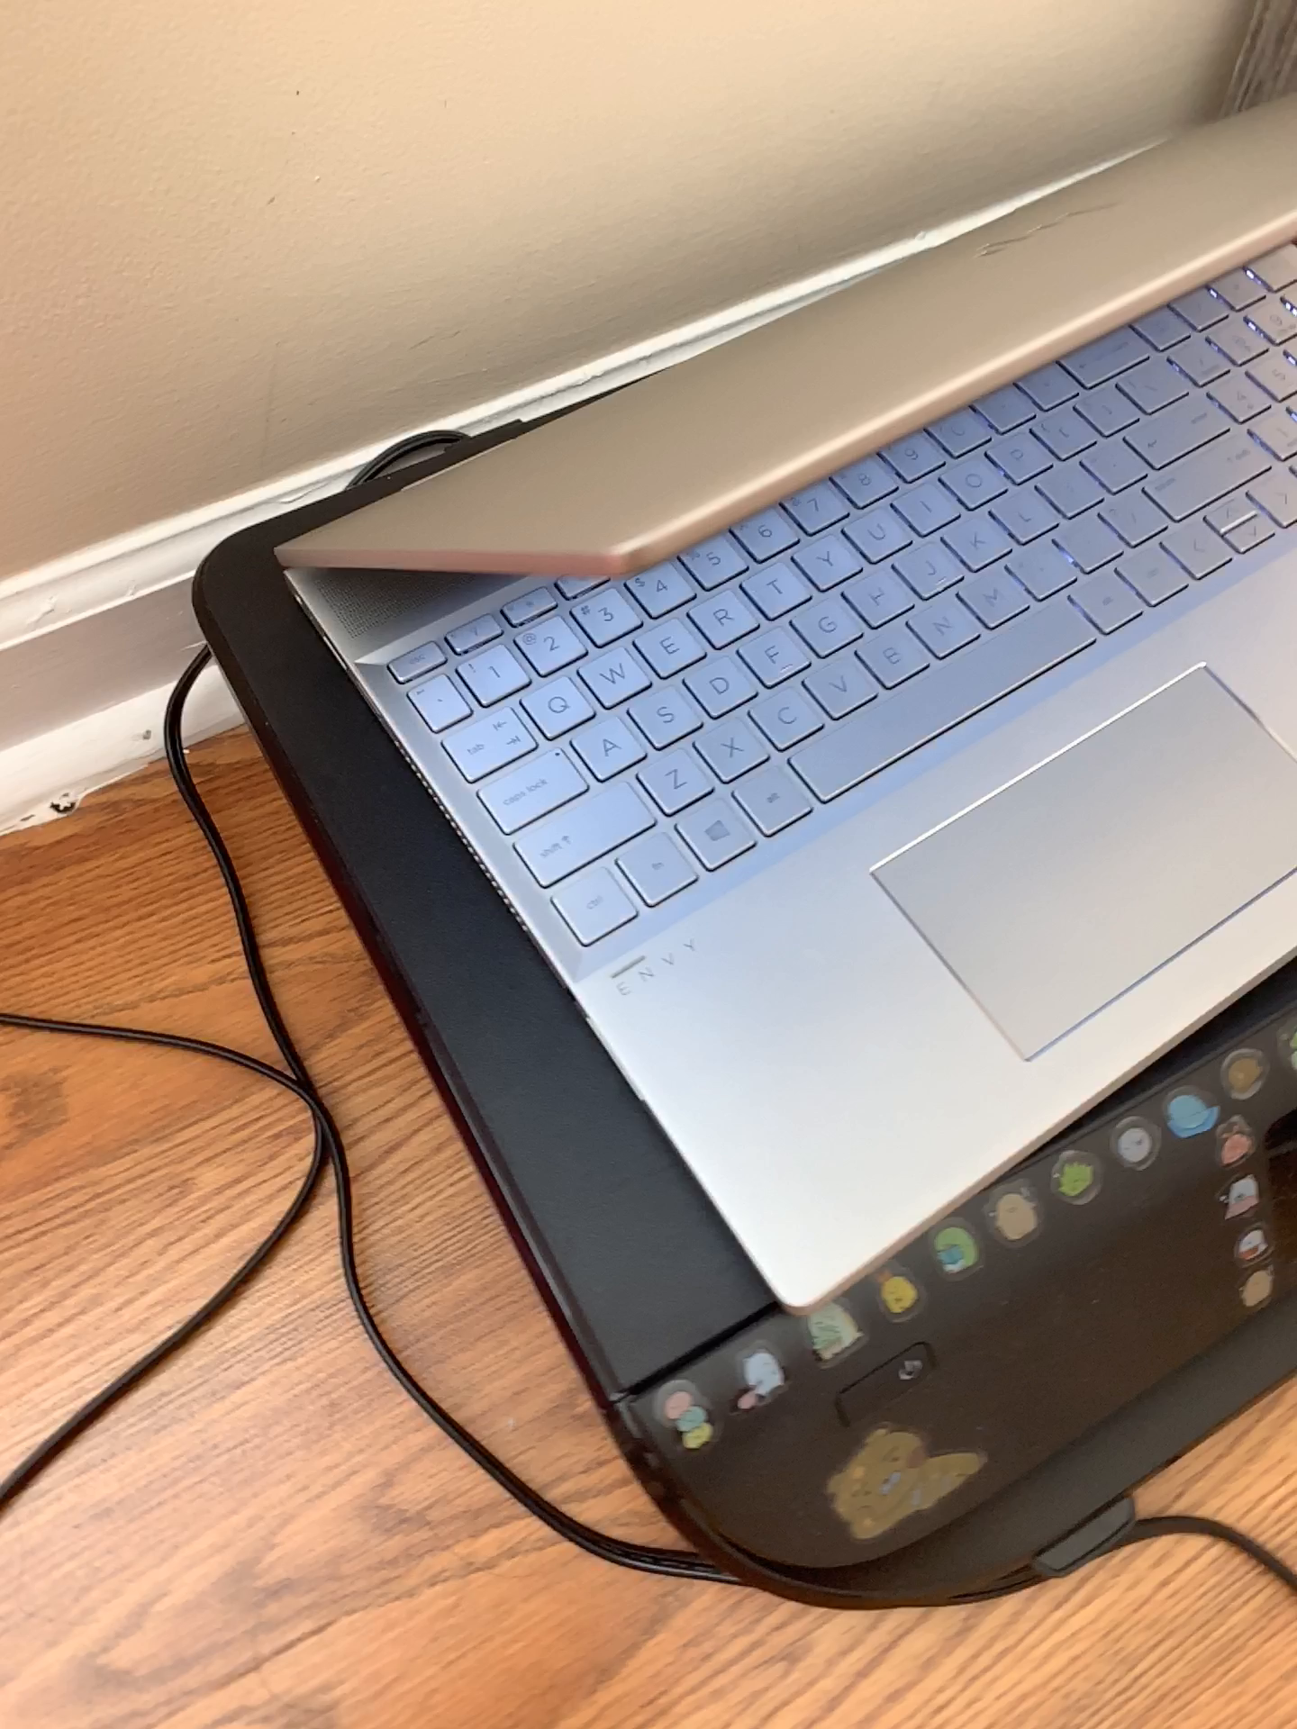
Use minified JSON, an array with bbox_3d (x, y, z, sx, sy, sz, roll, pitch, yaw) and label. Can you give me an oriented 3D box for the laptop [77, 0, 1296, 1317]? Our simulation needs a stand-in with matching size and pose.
[{"bbox_3d":[0.114,-0.114,0.302,0.351,0.169,0.236,-30,68,-16],"label":"laptop"}]
